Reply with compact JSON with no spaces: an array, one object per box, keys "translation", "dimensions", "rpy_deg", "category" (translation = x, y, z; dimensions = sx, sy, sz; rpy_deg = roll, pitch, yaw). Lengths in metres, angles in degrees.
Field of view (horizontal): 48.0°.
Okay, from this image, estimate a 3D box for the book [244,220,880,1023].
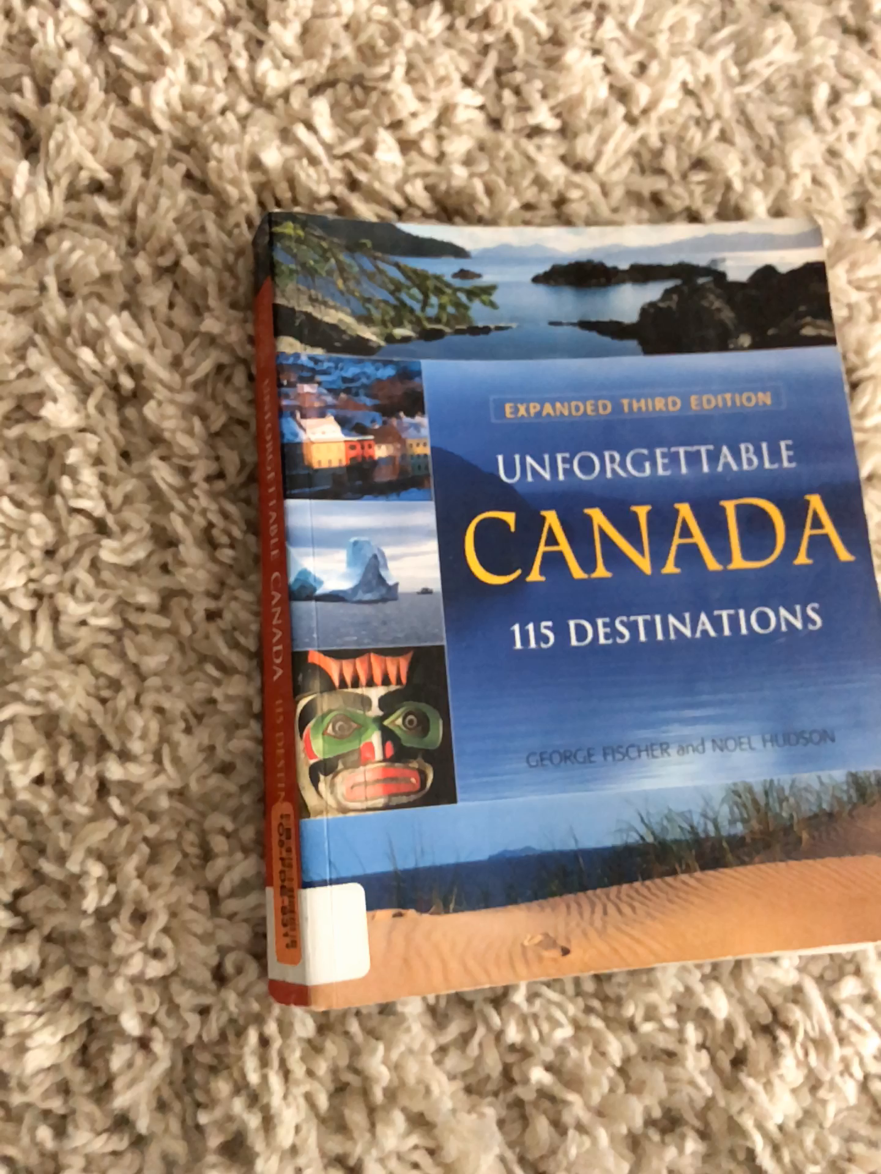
[{"translation":[0.044,0.001,0.319],"dimensions":[0.200,0.040,0.234],"rpy_deg":[-2,80,-8],"category":"book"}]
